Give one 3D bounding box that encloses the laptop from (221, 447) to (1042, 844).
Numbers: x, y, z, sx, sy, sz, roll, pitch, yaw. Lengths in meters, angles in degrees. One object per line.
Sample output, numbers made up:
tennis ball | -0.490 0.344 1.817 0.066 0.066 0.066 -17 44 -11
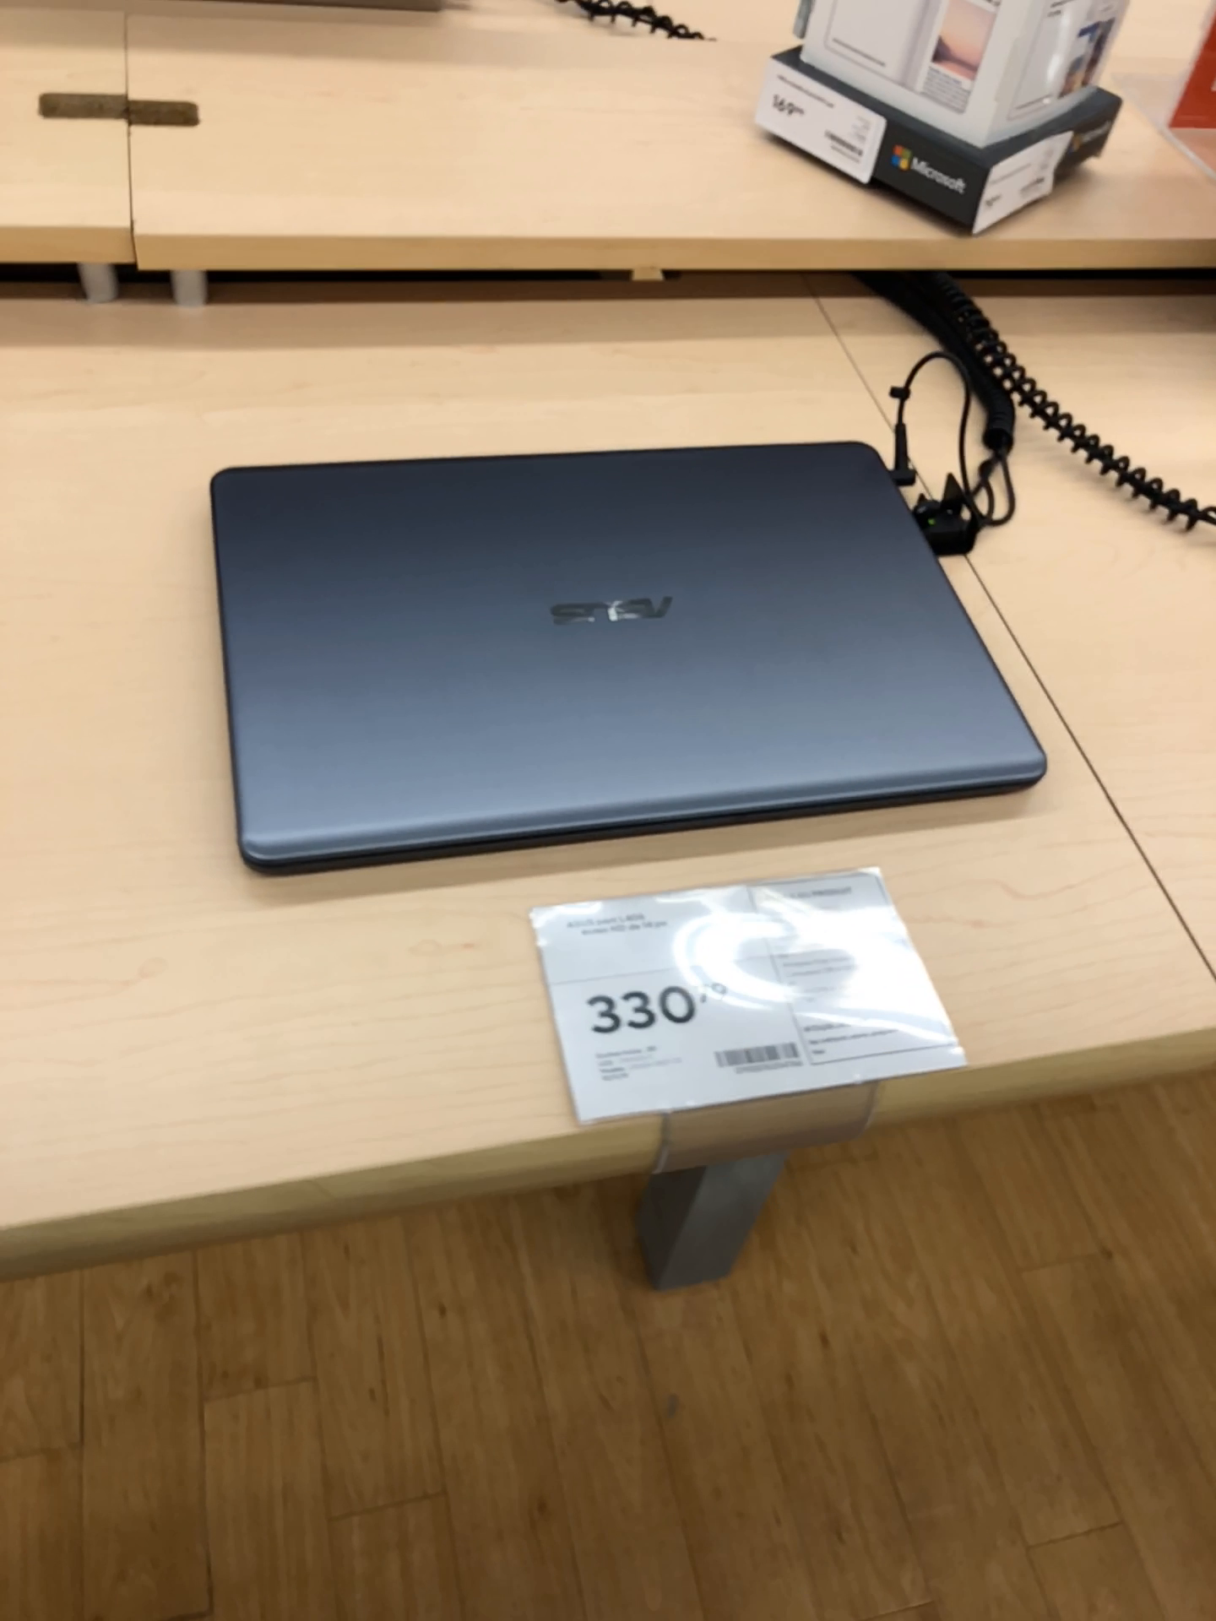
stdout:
laptop | 0.003 -0.086 0.588 0.318 0.001 0.211 -6 53 -14
